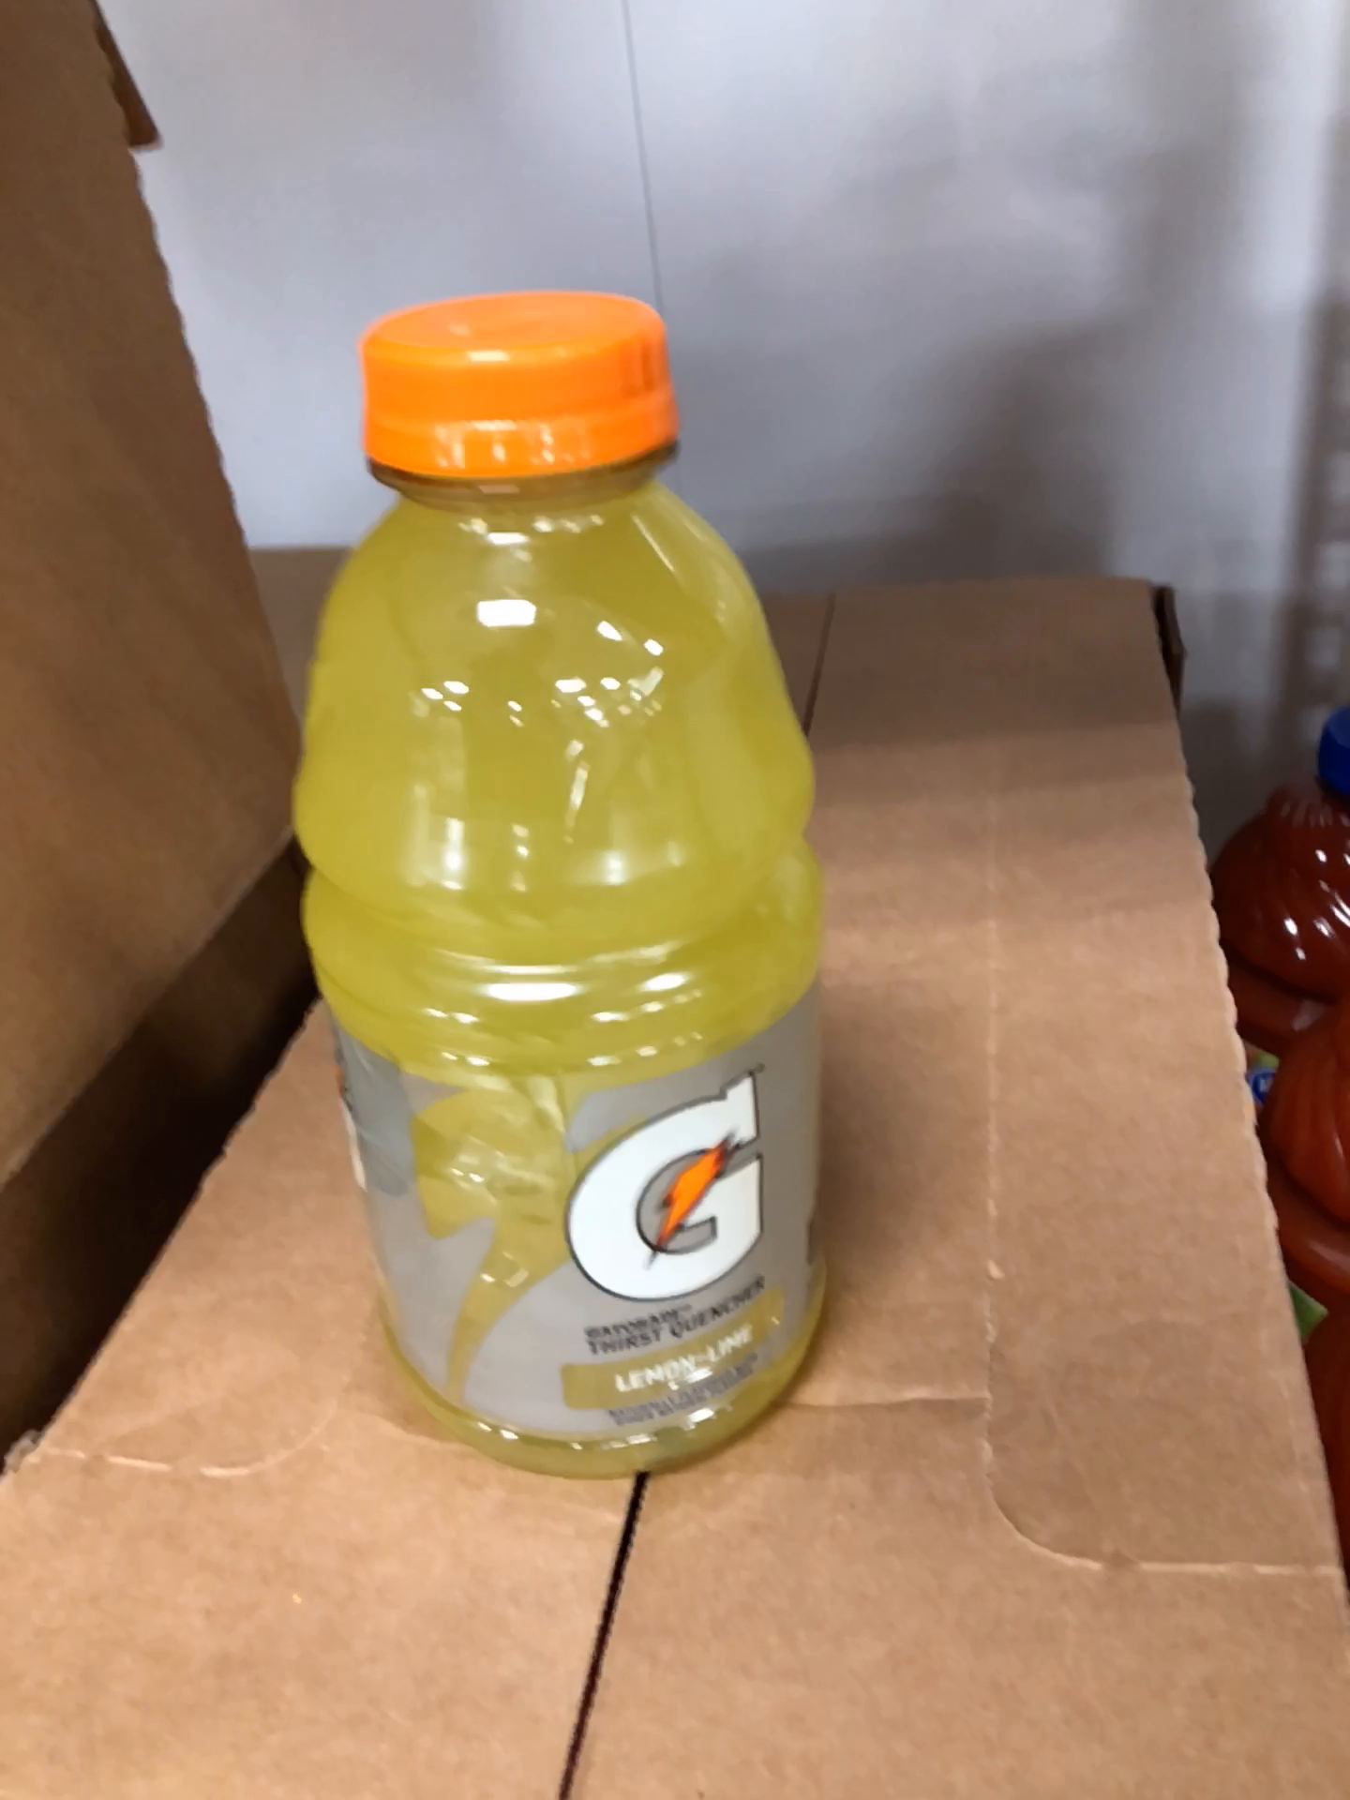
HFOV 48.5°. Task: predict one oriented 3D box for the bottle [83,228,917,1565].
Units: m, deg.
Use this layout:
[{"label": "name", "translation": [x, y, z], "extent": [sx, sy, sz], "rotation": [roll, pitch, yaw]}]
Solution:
[{"label": "bottle", "translation": [-0.023, 0.002, 0.275], "extent": [0.100, 0.209, 0.090], "rotation": [-16, 33, -15]}]
